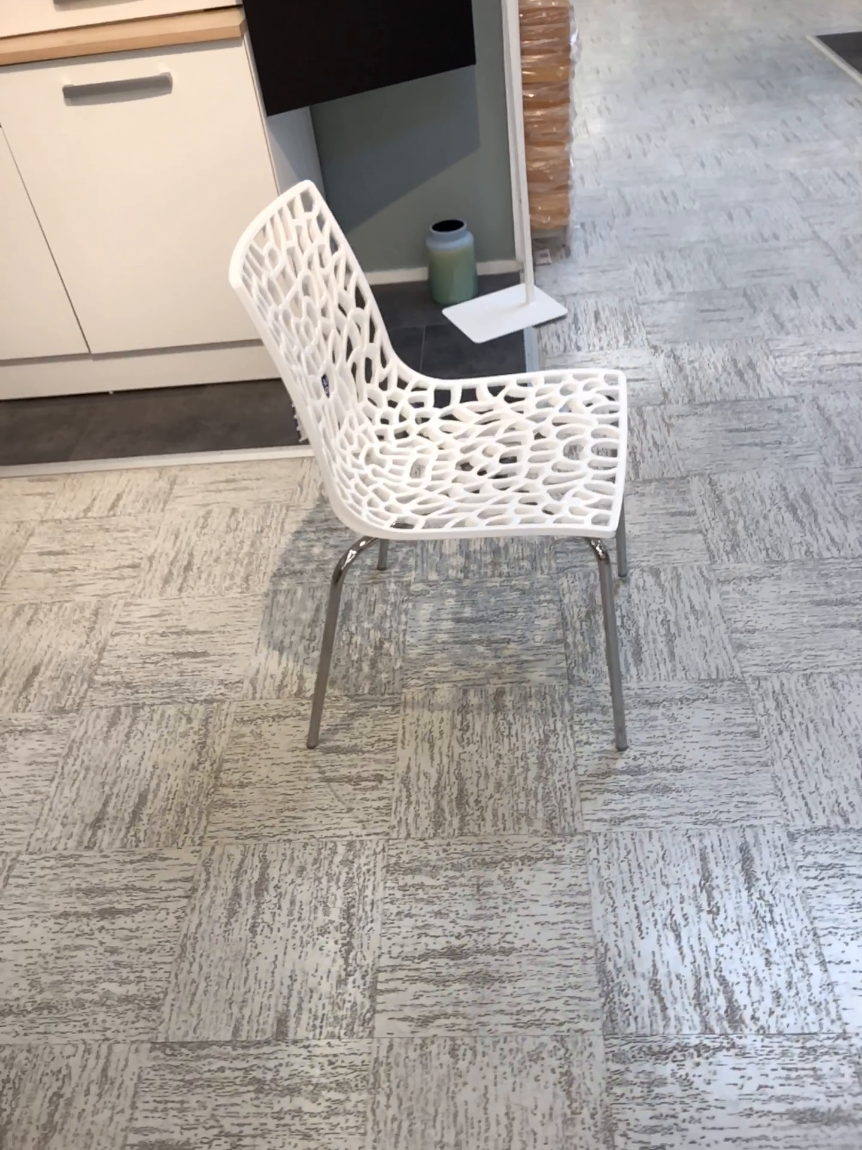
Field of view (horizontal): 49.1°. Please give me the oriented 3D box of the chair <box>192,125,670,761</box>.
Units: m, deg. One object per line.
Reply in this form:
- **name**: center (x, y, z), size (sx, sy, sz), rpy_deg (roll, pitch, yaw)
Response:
- **chair**: center (0.067, -0.168, 1.409), size (0.510, 0.785, 0.453), rpy_deg (1, 41, 11)
